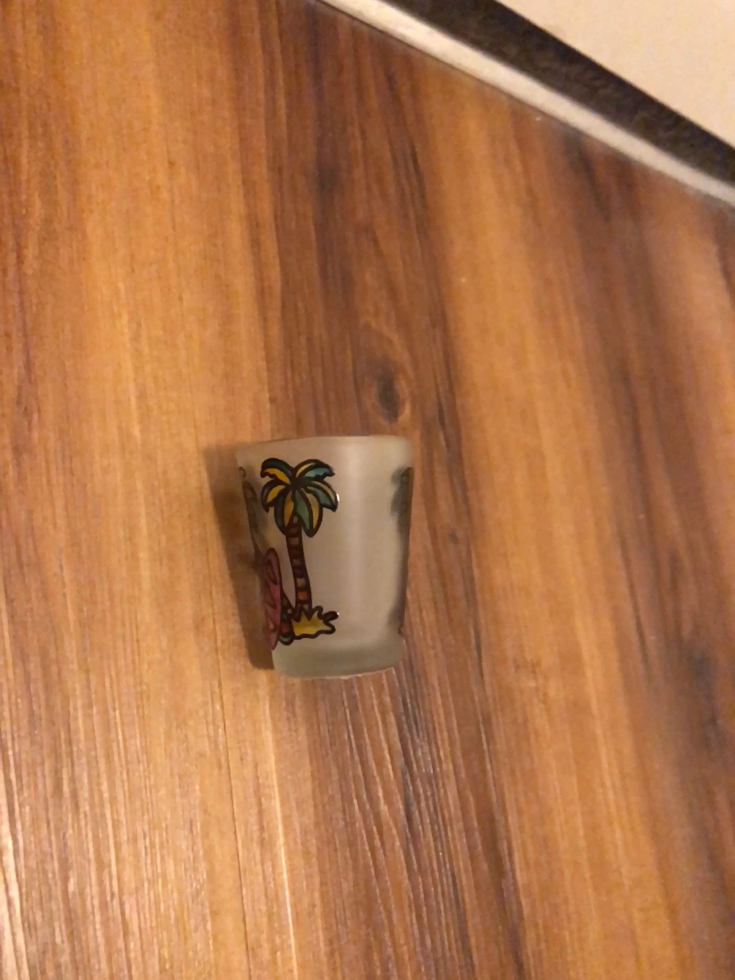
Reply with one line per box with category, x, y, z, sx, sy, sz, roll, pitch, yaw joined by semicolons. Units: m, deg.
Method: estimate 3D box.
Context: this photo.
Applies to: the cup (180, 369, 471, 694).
cup;-0.012;0.012;0.210;0.050;0.044;0.070;1;77;-39
